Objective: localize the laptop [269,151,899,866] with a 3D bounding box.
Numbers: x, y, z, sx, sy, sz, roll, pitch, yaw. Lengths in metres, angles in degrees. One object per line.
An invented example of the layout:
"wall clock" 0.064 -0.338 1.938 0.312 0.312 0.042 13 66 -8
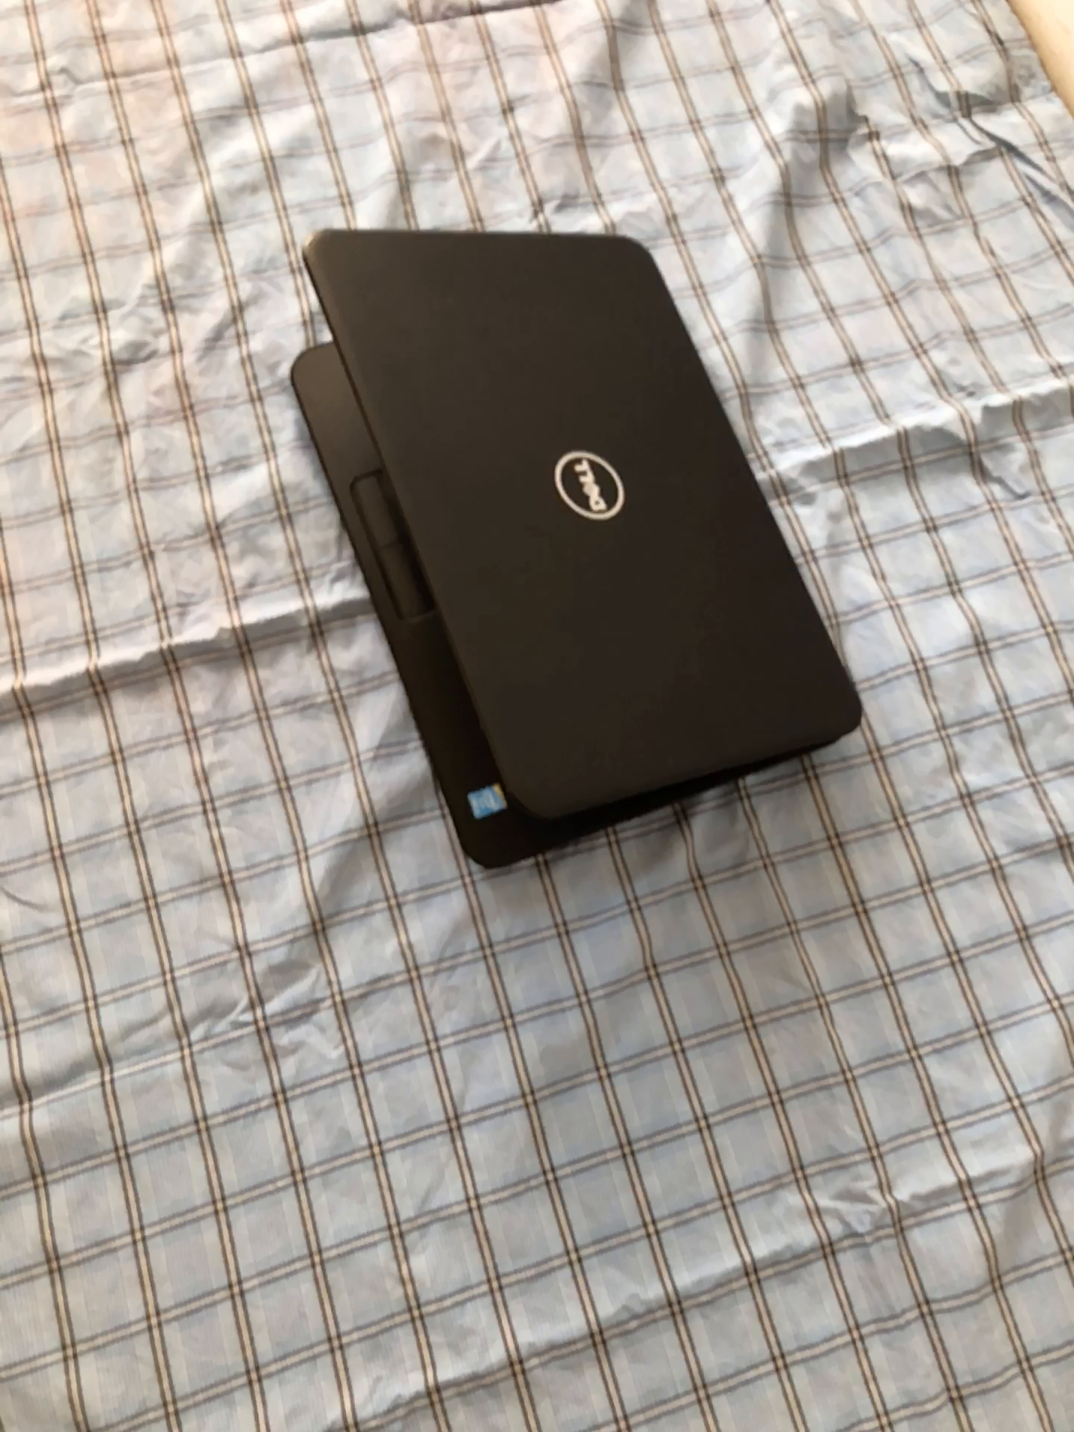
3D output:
"laptop" 0.015 -0.121 0.690 0.223 0.099 0.350 -20 76 -7
